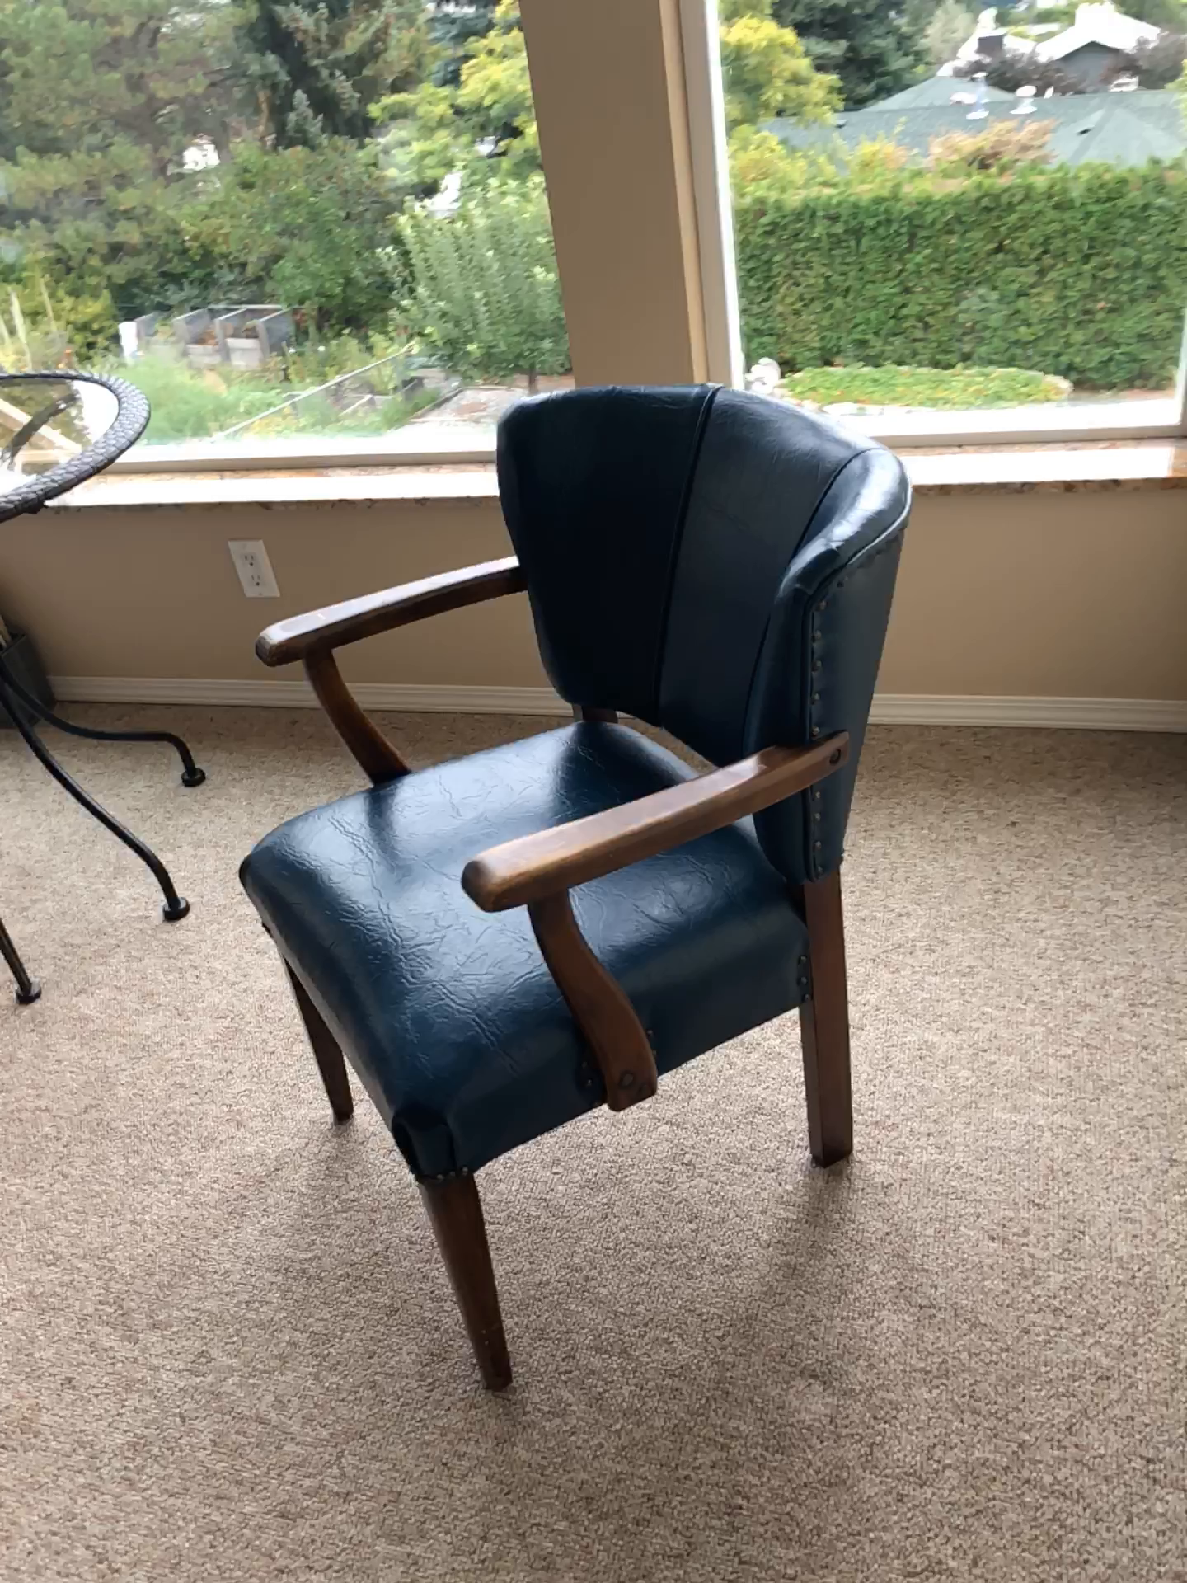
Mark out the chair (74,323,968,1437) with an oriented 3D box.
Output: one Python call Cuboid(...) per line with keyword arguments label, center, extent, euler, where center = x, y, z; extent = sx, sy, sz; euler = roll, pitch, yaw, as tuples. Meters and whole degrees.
Cuboid(label="chair", center=(-0.039, 0.061, 1.294), extent=(0.560, 0.797, 0.532), euler=(-25, 38, -20))
